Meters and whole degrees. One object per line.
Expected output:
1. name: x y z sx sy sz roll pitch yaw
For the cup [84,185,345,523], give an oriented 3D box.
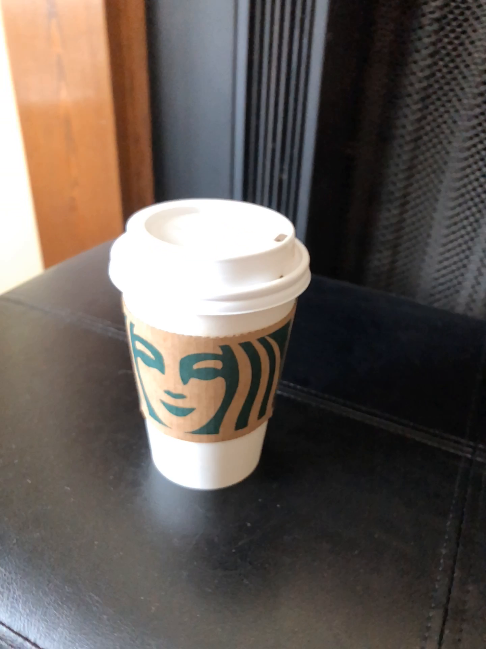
1. cup: -0.008 0.011 0.257 0.090 0.120 0.090 2 31 -1
